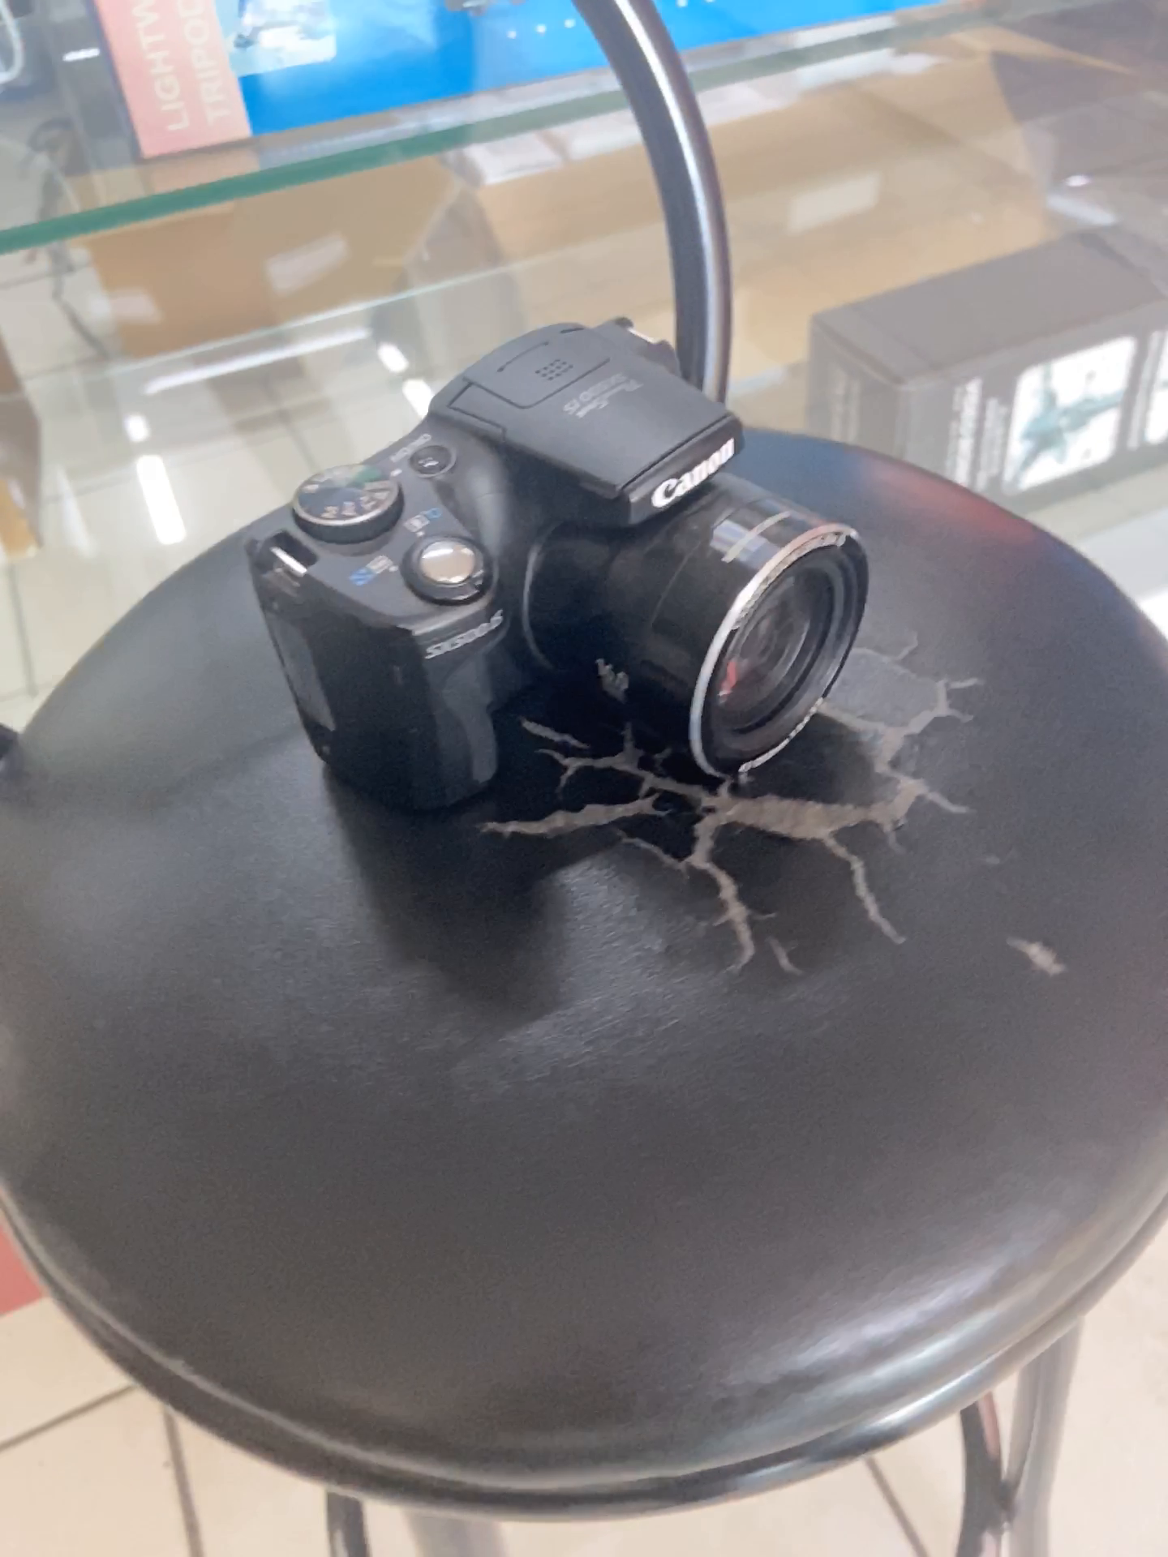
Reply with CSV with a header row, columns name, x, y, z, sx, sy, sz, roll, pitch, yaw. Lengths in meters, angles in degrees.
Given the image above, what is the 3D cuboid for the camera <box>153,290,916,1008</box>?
name,x,y,z,sx,sy,sz,roll,pitch,yaw
camera,-0.004,-0.034,0.247,0.090,0.070,0.110,30,57,32
